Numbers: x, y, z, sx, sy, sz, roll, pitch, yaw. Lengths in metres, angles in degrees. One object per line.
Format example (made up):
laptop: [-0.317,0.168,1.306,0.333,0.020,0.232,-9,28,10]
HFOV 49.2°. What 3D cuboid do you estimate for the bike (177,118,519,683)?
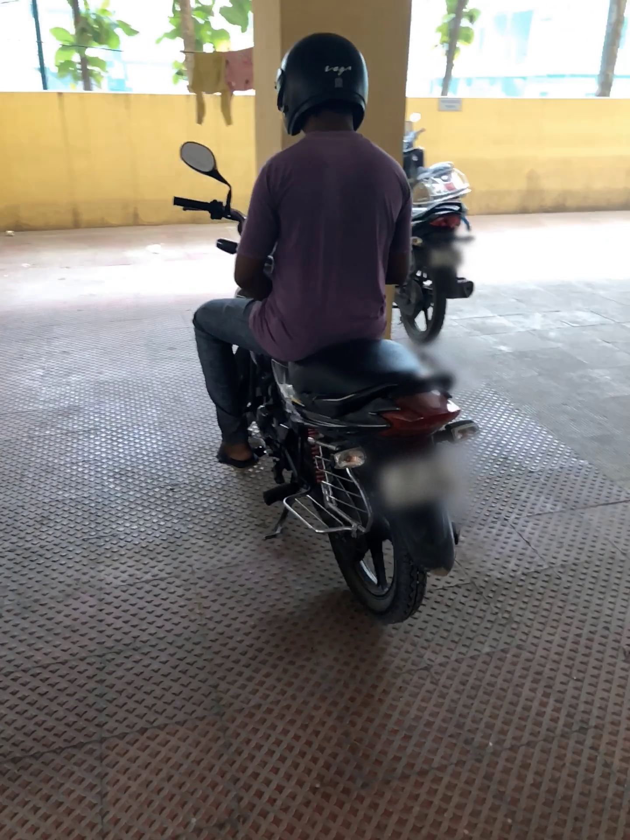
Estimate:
bike: [-0.046,-0.285,2.347,0.632,1.063,1.654,-6,32,-14]
